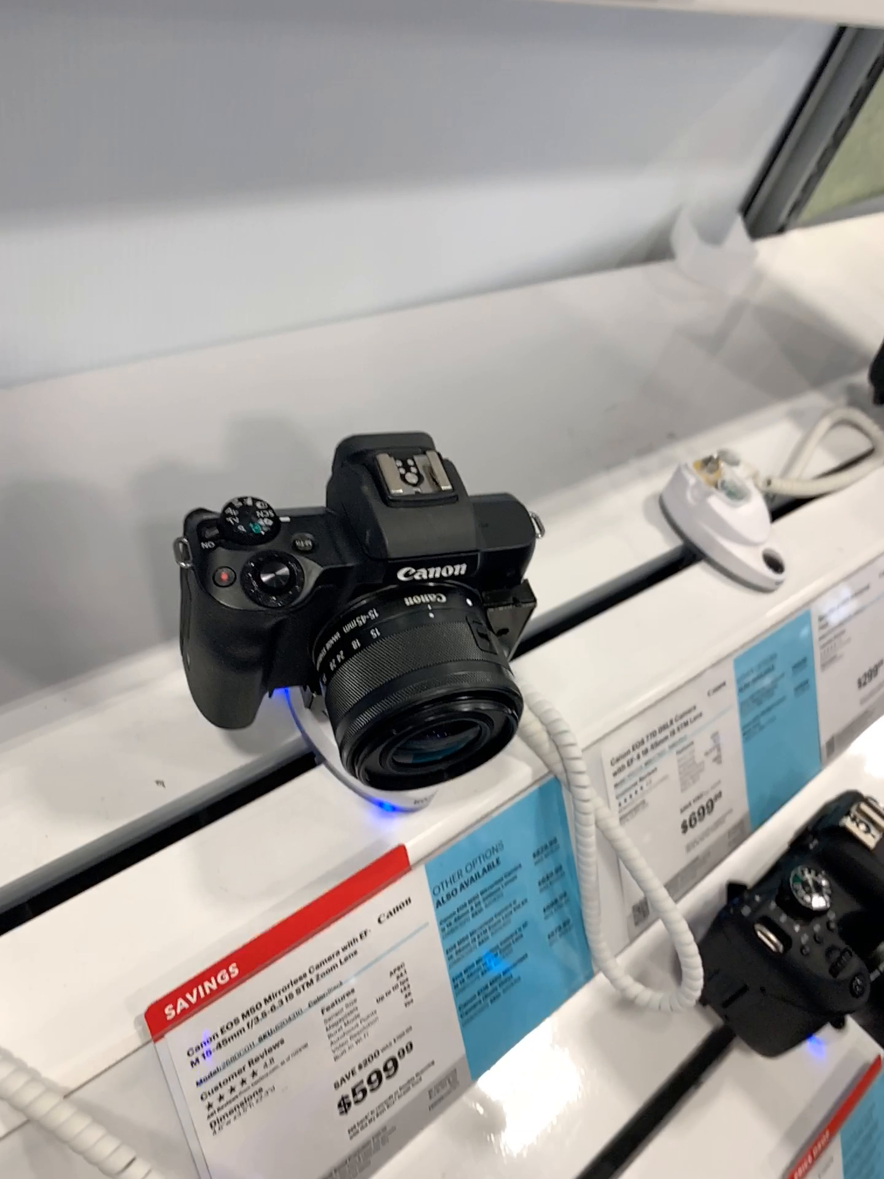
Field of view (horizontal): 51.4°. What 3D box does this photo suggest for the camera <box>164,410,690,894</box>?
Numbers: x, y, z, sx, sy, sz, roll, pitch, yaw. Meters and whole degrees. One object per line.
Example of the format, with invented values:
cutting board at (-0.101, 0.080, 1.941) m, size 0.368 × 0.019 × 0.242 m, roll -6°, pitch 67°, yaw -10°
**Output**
camera at (-0.014, 0.013, 0.295) m, size 0.121 × 0.080 × 0.110 m, roll -9°, pitch 54°, yaw -27°
